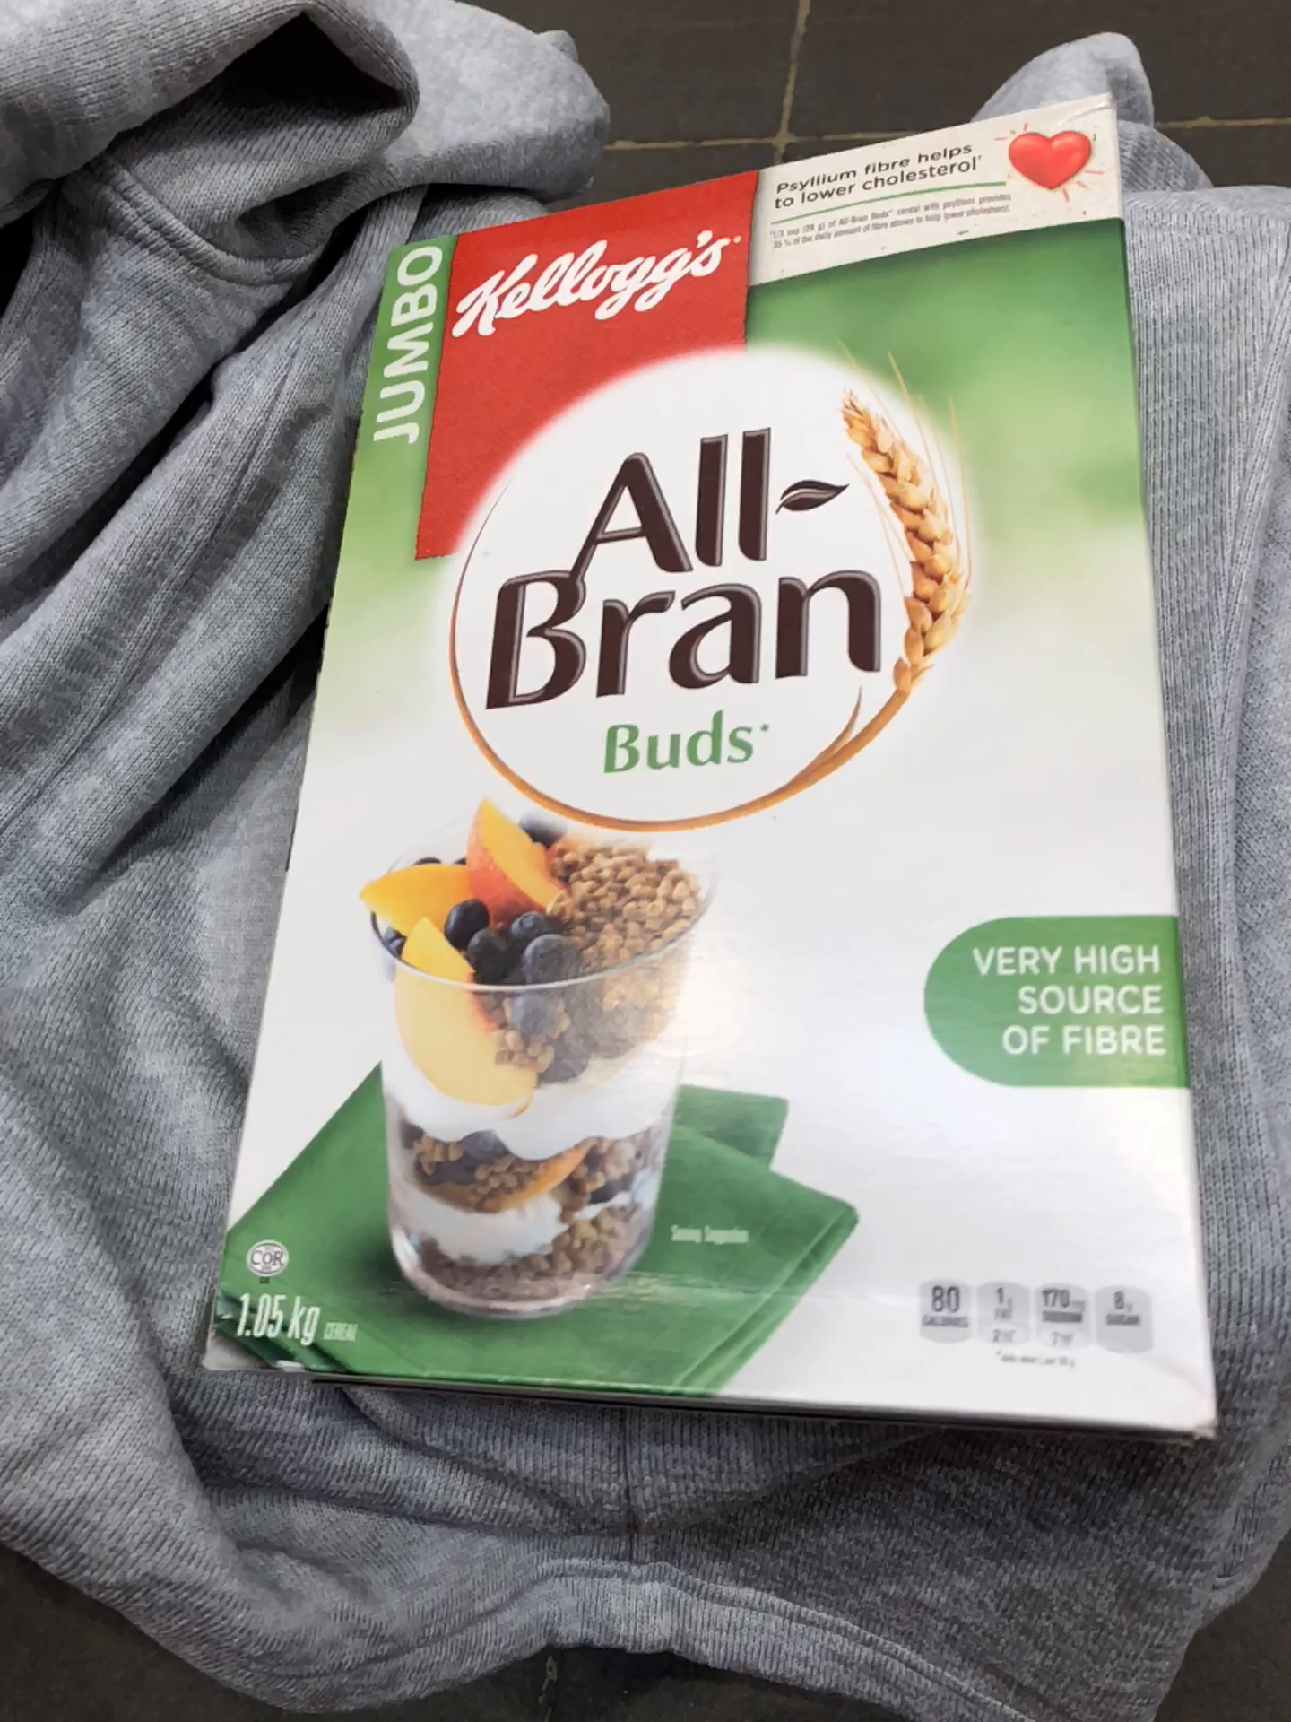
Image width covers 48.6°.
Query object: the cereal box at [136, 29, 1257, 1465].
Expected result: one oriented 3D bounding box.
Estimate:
[{"bbox_3d":[0.019,-0.032,0.331,0.200,0.070,0.300,-4,65,20],"label":"cereal box"}]
